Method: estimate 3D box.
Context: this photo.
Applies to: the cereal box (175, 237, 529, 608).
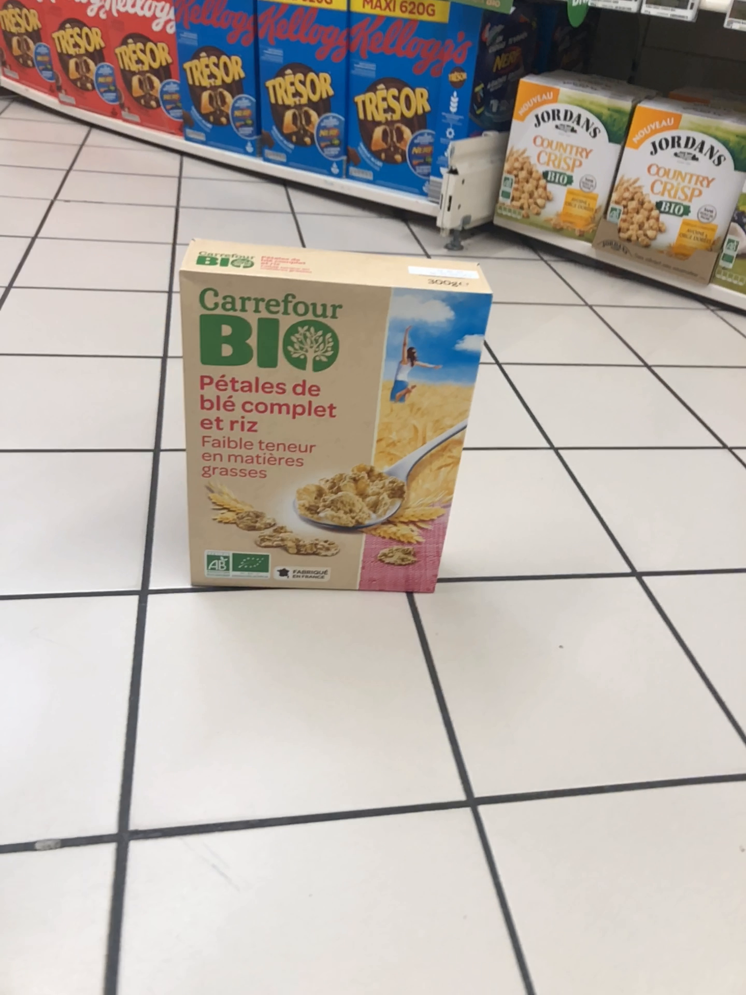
[{"bbox_3d":[-0.024,-0.044,0.583,0.210,0.238,0.080,3,33,-6],"label":"cereal box"}]
